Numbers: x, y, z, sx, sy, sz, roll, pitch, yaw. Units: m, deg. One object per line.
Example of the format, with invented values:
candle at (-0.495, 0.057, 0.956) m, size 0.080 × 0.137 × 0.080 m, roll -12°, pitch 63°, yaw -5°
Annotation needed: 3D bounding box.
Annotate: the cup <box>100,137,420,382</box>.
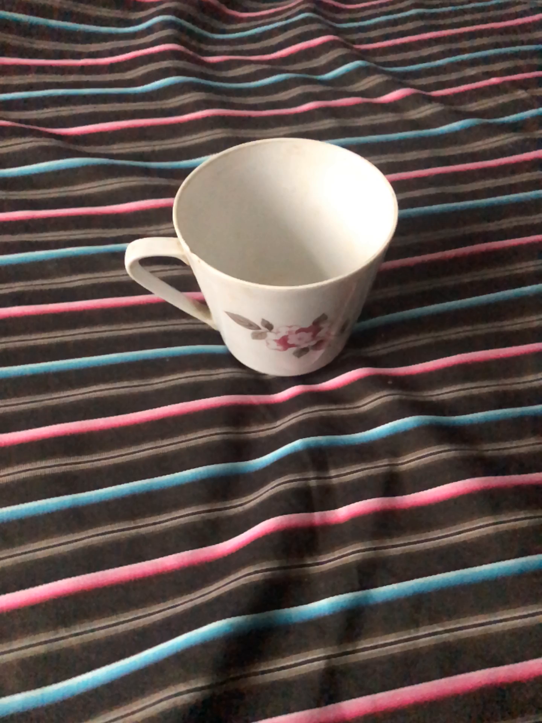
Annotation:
cup at (-0.002, -0.037, 0.219) m, size 0.094 × 0.049 × 0.074 m, roll 1°, pitch 57°, yaw 1°
